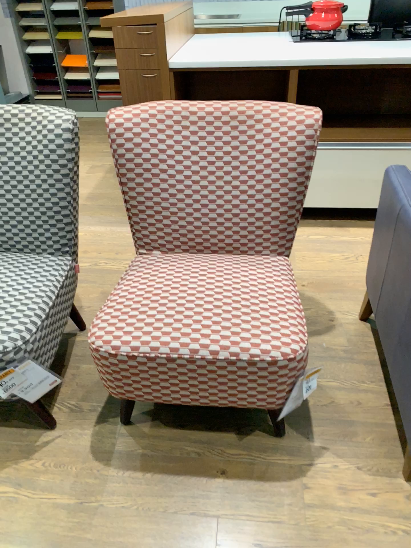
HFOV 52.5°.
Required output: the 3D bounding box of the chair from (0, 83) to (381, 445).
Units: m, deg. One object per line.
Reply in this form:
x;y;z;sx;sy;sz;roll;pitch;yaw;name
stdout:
0.000;-0.039;1.258;0.700;0.866;0.612;2;35;5;chair
